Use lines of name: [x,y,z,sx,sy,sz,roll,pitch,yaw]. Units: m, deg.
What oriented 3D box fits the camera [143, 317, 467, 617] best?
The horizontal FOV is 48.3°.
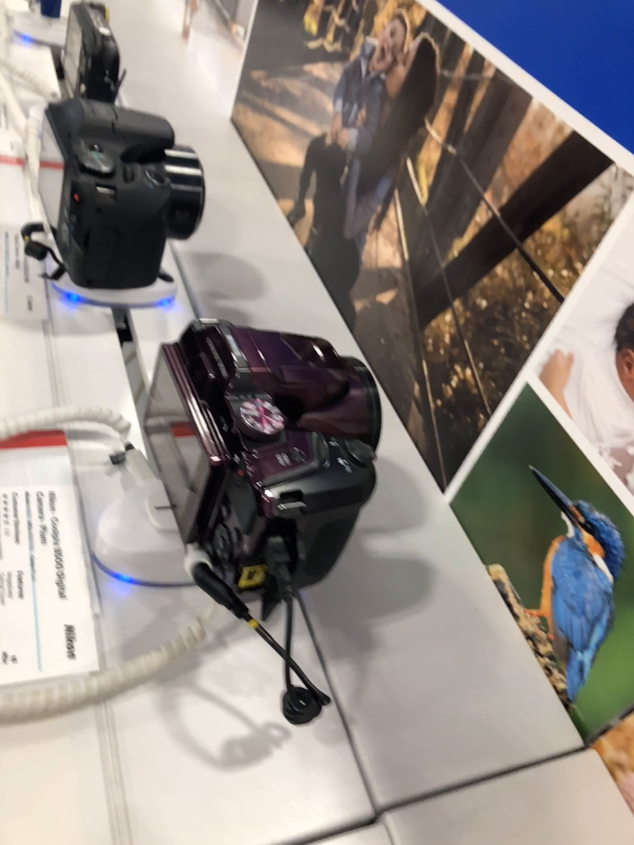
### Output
camera: [-0.012,0.013,0.329,0.100,0.060,0.120,-3,46,-30]
